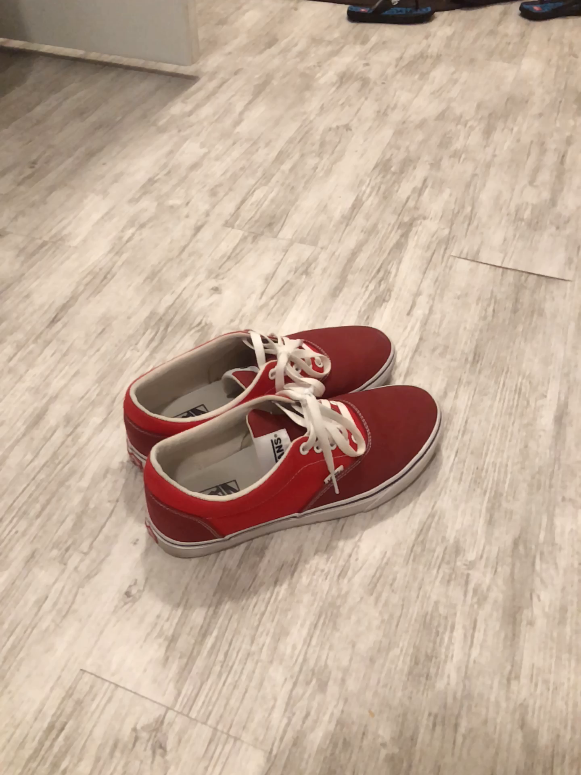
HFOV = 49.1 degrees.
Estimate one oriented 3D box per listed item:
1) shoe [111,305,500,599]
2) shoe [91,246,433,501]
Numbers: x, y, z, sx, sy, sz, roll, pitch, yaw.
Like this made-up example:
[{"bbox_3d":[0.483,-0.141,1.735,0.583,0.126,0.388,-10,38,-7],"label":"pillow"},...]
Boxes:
[{"bbox_3d":[0.014,0.042,0.510,0.272,0.093,0.110,-21,51,-17],"label":"shoe"},{"bbox_3d":[-0.020,-0.021,0.565,0.266,0.088,0.110,-23,52,-19],"label":"shoe"}]
